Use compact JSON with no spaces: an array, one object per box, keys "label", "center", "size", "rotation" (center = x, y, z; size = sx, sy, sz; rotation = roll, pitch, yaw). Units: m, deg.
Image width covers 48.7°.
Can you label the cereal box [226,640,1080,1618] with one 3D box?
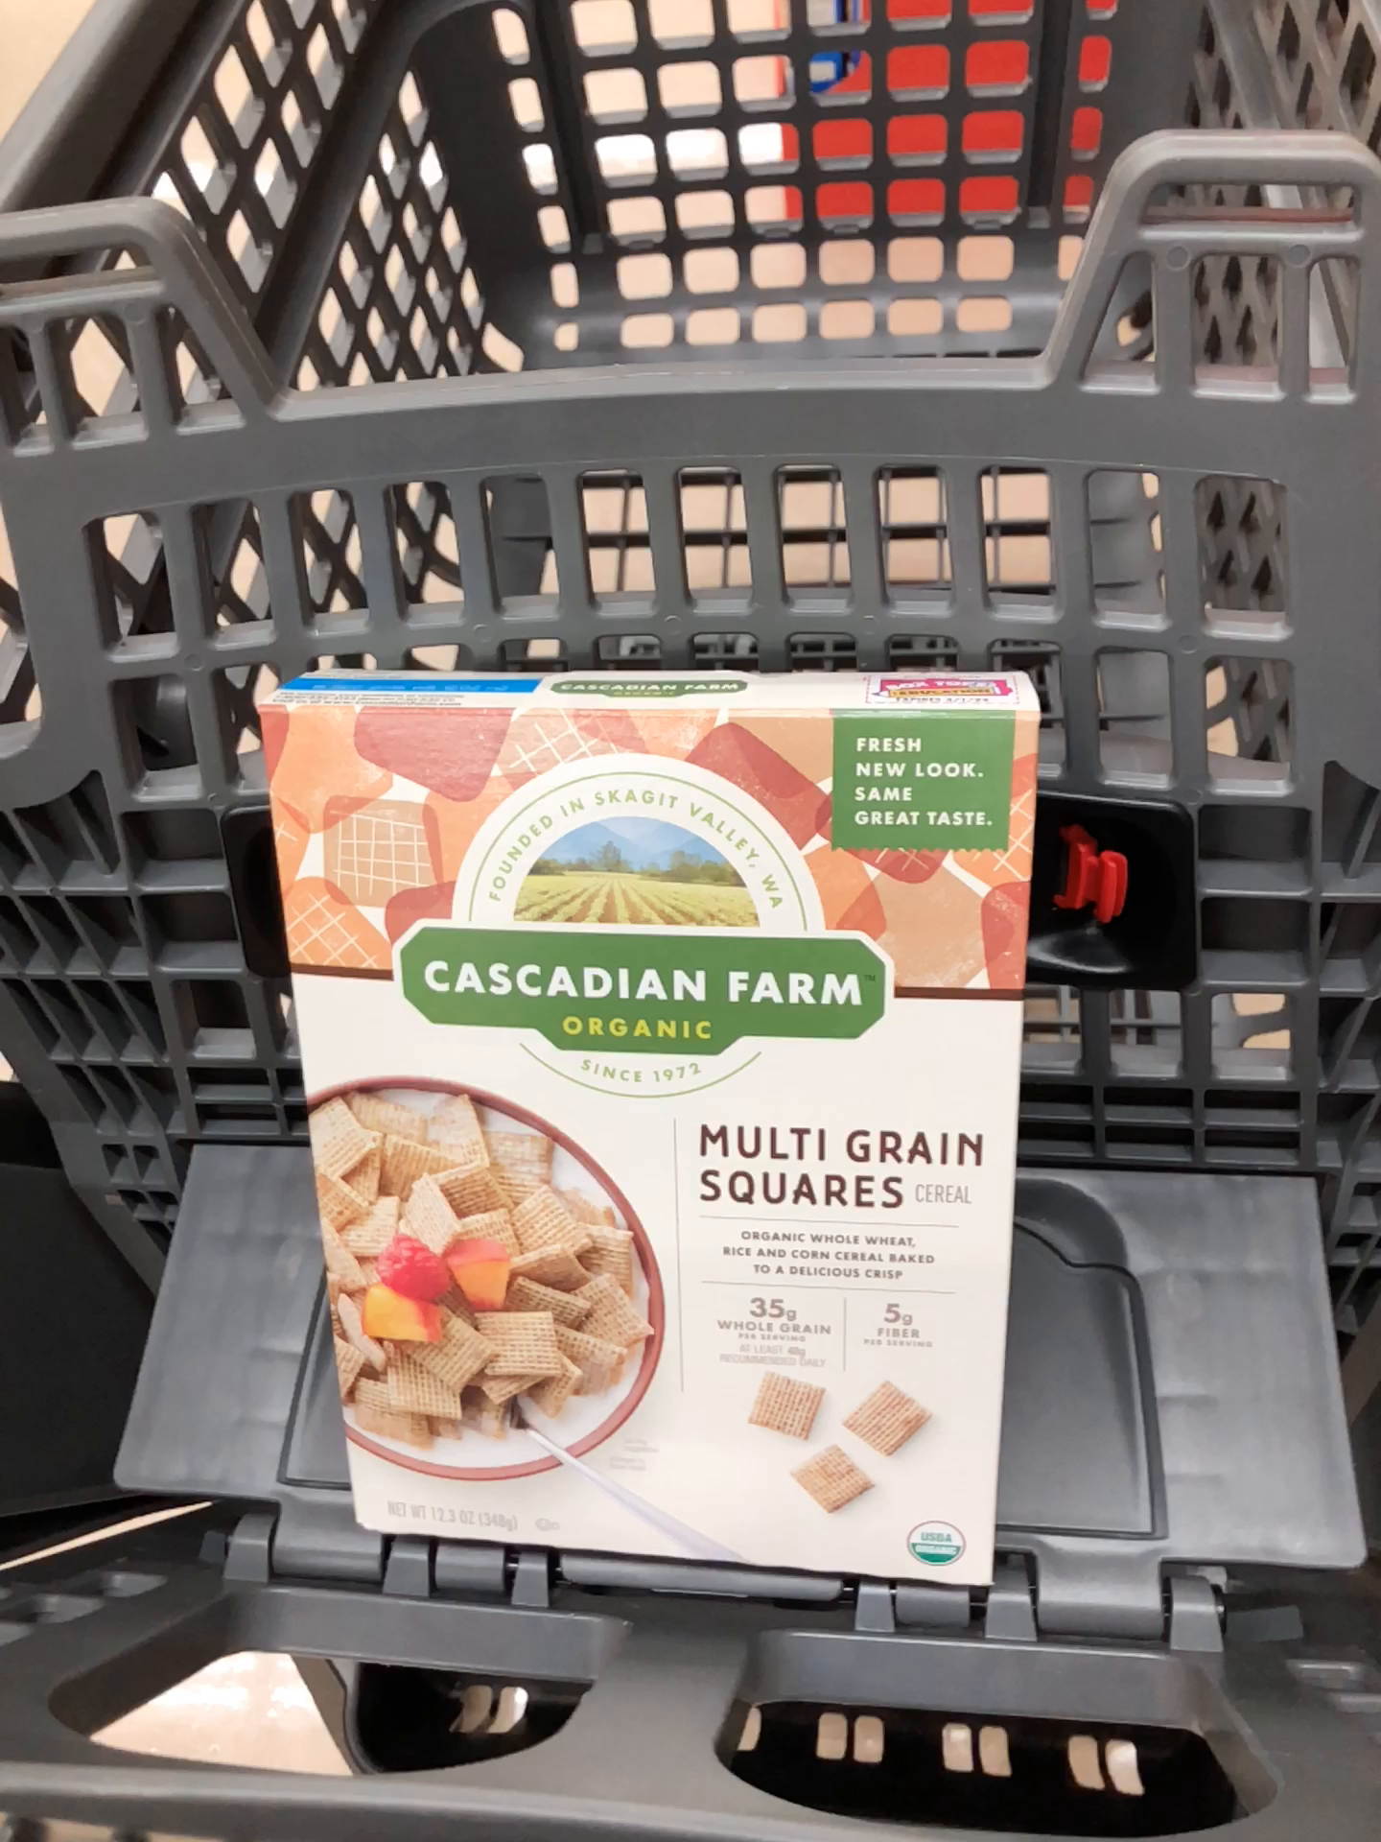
[{"label":"cereal box","center":[-0.005,0.058,0.423],"size":[0.200,0.260,0.060],"rotation":[2,20,9]}]
